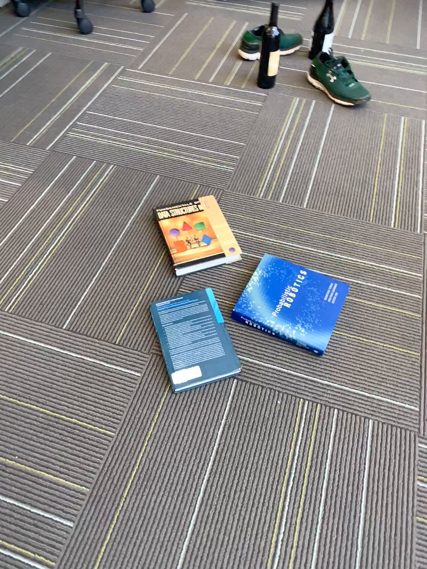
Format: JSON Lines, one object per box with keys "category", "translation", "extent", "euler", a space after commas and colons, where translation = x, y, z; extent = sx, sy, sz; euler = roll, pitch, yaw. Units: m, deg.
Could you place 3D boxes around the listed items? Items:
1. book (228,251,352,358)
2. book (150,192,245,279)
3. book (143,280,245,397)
{"category": "book", "translation": [0.192, 0.040, 1.078], "extent": [0.246, 0.040, 0.205], "euler": [22, 55, 15]}
{"category": "book", "translation": [-0.049, -0.142, 1.193], "extent": [0.191, 0.040, 0.248], "euler": [-15, 54, -12]}
{"category": "book", "translation": [-0.051, 0.117, 1.011], "extent": [0.170, 0.040, 0.248], "euler": [-14, 57, -12]}
